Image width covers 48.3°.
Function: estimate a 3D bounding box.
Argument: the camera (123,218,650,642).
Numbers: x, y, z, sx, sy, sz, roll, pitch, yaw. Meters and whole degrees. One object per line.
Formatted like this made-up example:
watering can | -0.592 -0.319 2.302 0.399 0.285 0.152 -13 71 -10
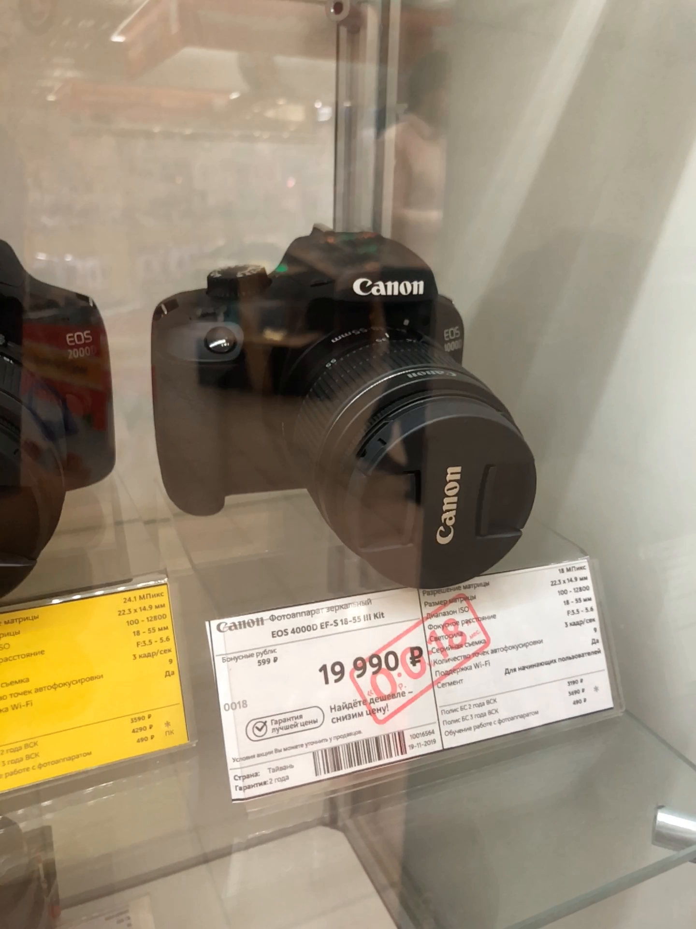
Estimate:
camera | -0.003 -0.031 0.274 0.125 0.100 0.147 -6 21 -21
